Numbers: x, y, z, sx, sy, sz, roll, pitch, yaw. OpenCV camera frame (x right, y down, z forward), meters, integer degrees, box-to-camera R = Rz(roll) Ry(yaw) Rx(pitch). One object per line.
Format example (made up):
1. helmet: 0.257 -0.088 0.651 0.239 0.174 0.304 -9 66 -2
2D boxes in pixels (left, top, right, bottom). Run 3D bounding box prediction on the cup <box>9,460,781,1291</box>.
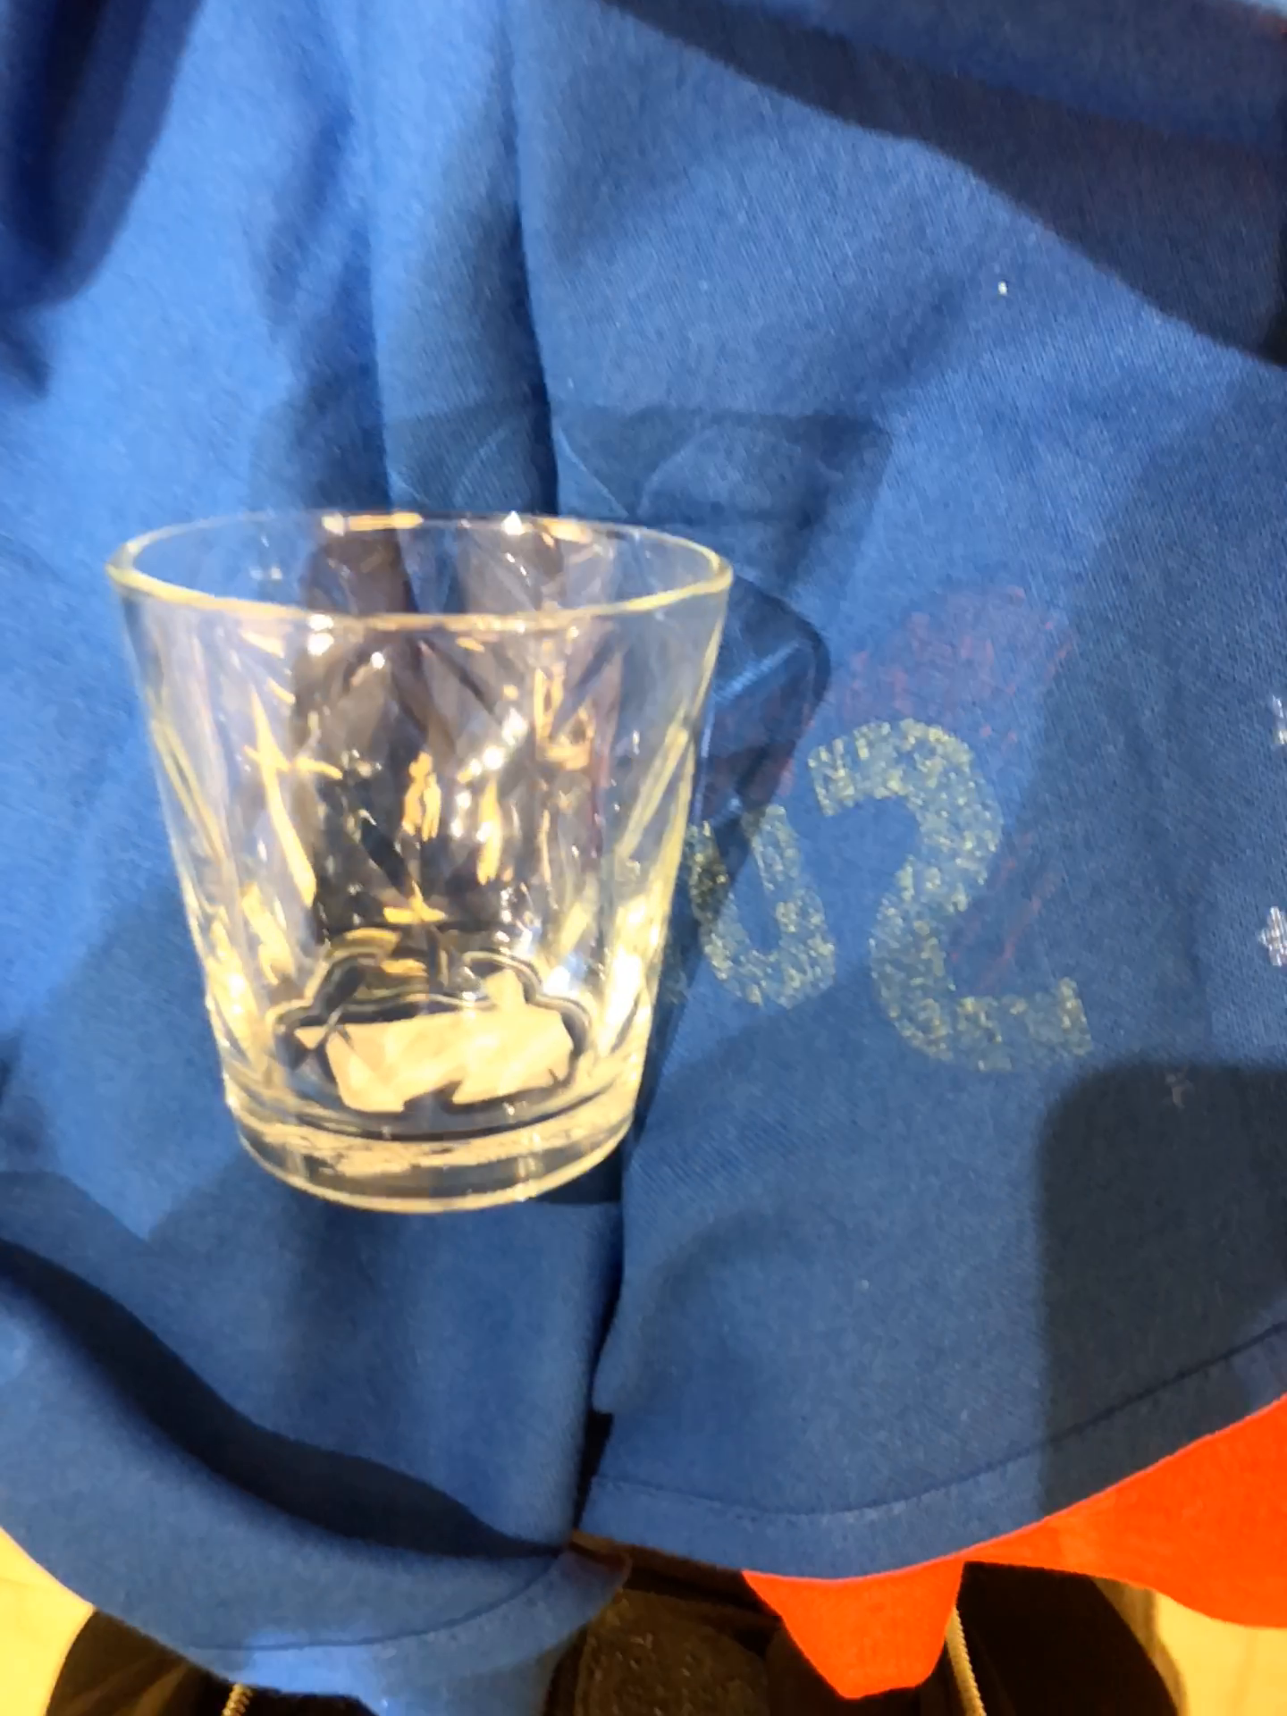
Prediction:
1. cup: -0.026 -0.003 0.204 0.080 0.070 0.090 5 115 9
